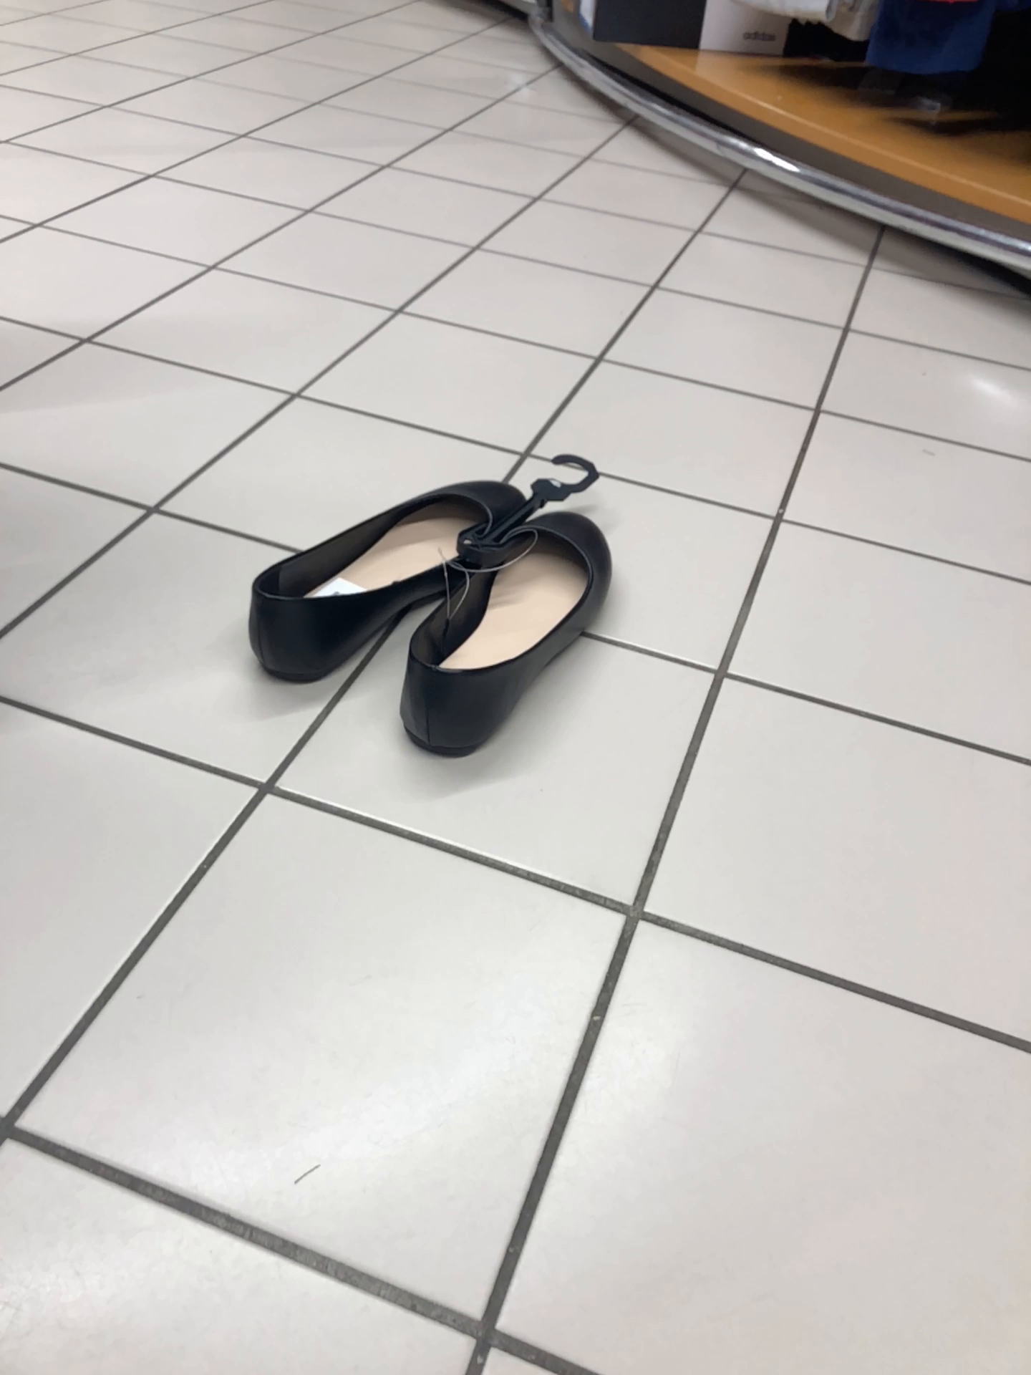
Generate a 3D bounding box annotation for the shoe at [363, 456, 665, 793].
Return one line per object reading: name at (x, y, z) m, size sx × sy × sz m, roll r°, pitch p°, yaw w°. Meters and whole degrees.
shoe at (0.007, -0.050, 0.681) m, size 0.080 × 0.060 × 0.252 m, roll 20°, pitch 41°, yaw 15°

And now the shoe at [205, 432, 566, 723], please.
shoe at (-0.073, -0.081, 0.724) m, size 0.080 × 0.060 × 0.252 m, roll 27°, pitch 44°, yaw 23°
